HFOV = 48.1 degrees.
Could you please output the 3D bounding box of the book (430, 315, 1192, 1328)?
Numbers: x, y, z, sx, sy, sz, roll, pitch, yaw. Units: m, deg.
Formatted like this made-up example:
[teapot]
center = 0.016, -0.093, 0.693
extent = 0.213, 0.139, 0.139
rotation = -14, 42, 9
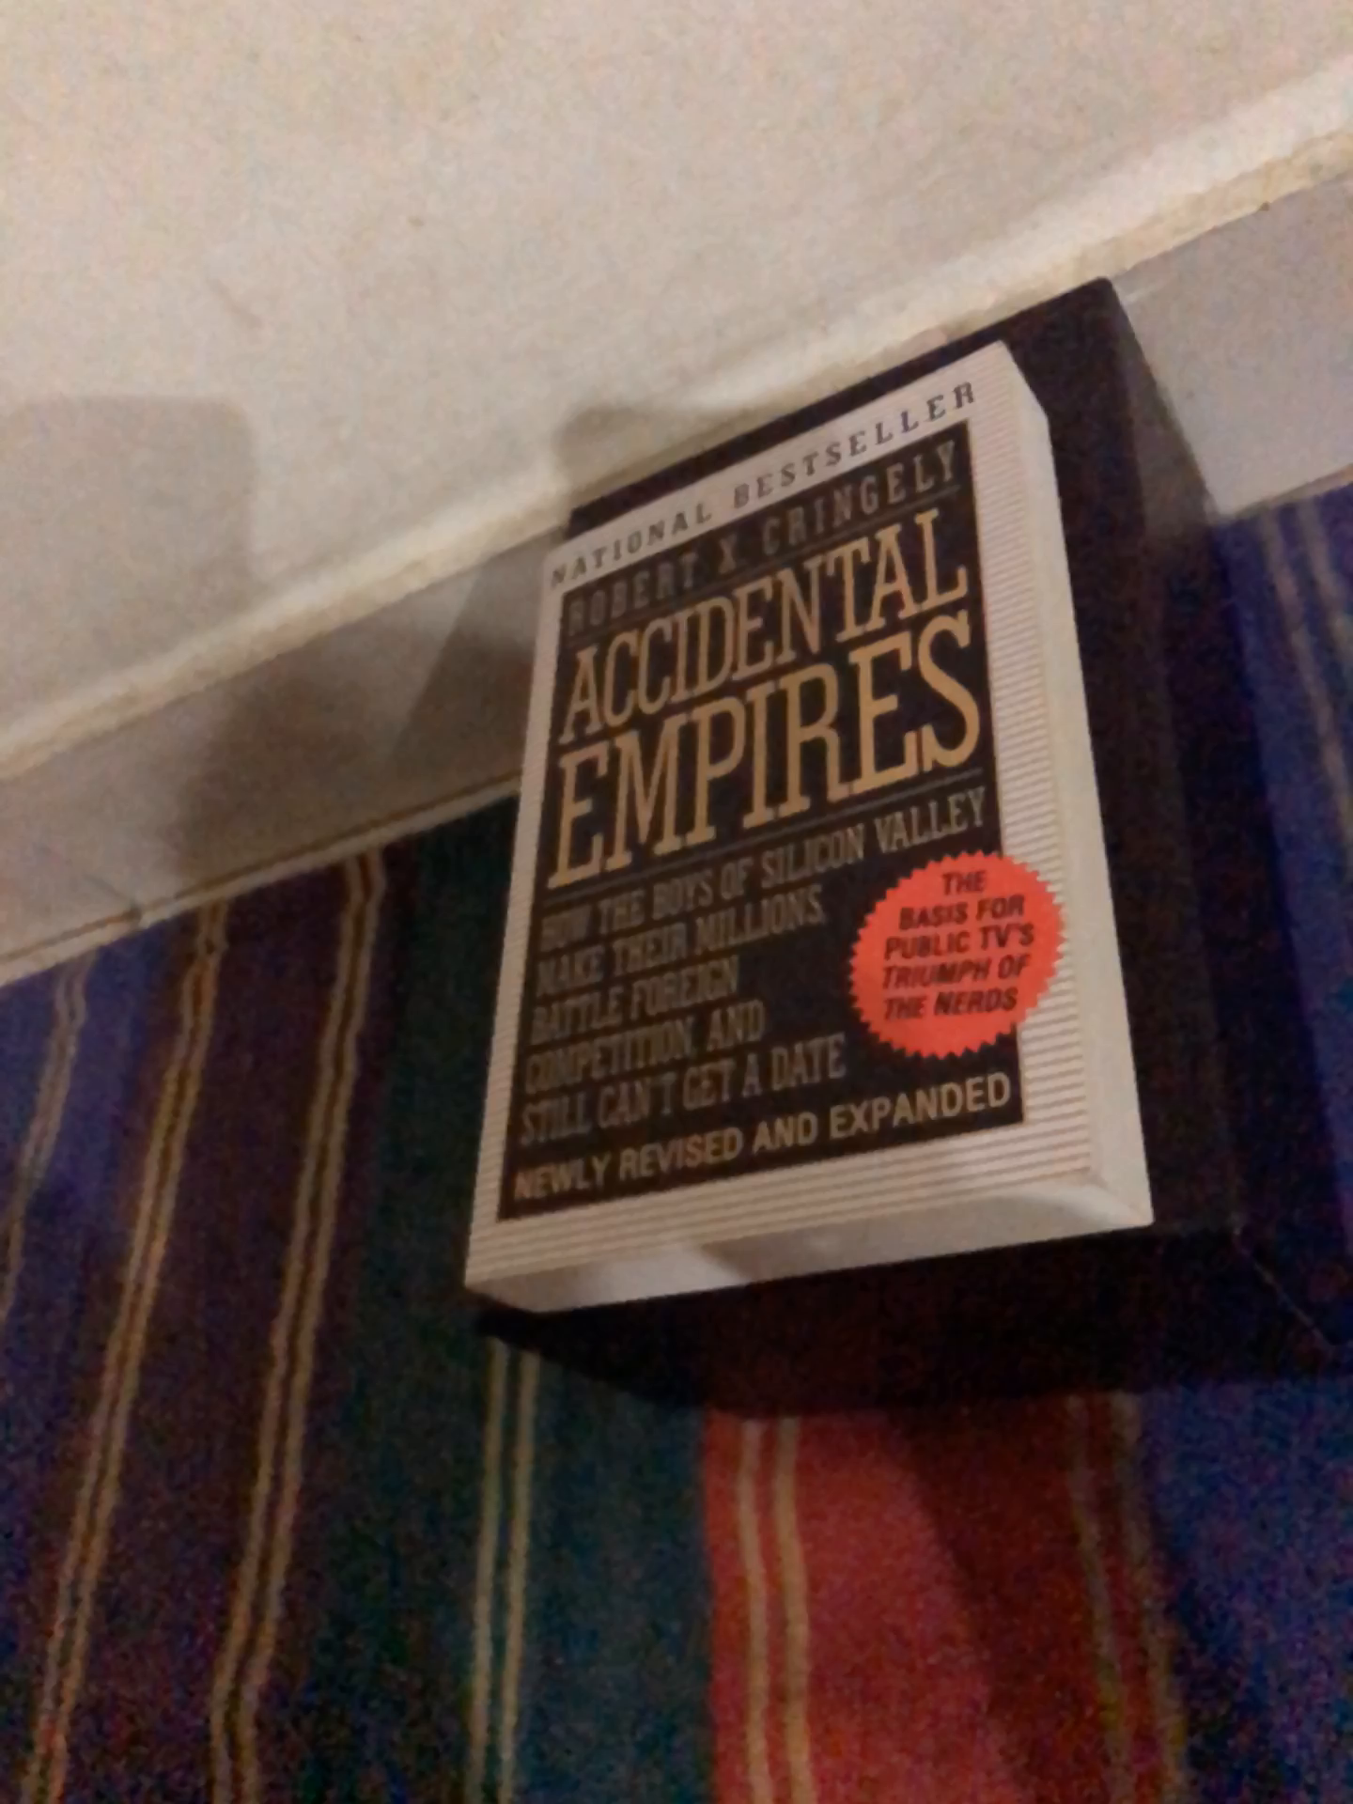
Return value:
[book]
center = 0.024, -0.018, 0.317
extent = 0.130, 0.040, 0.190
rotation = -16, 54, 28
